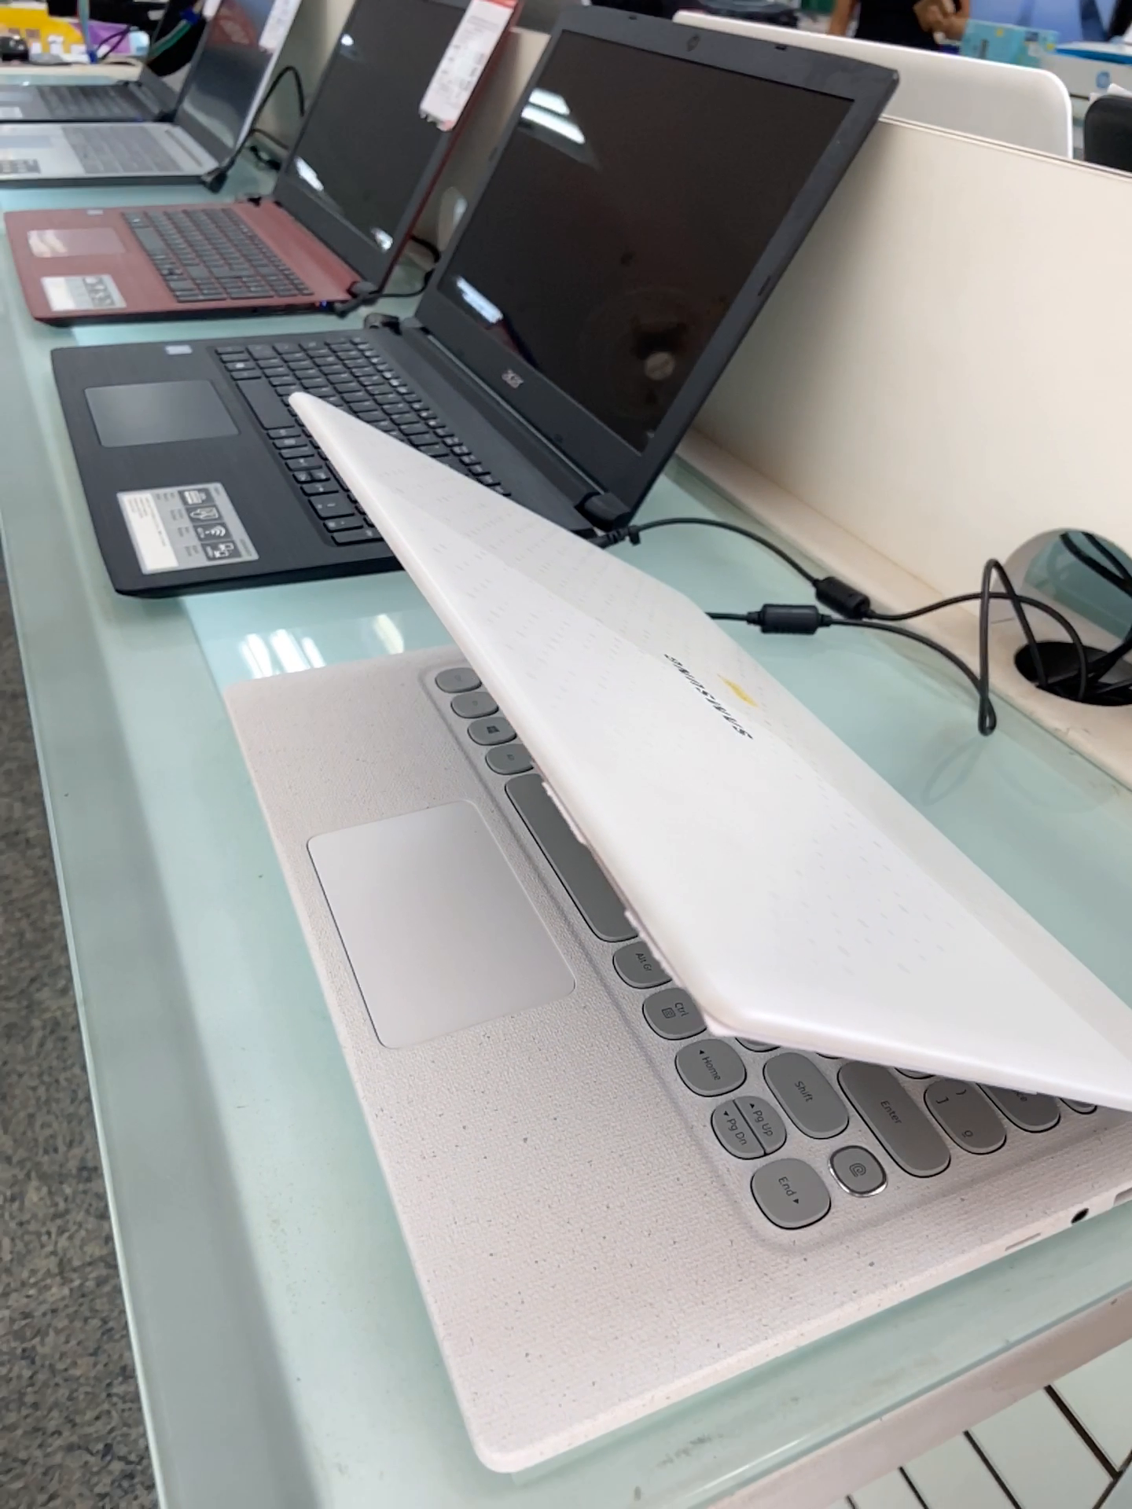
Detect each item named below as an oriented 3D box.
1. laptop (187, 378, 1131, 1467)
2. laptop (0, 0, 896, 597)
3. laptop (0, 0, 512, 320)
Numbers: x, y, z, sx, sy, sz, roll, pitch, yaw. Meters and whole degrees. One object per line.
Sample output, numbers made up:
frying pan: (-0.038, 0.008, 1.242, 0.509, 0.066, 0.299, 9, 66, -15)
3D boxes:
laptop: (0.020, -0.006, 0.356, 0.206, 0.107, 0.313, -12, 37, -20)
laptop: (-0.104, -0.301, 0.679, 0.374, 0.213, 0.402, -11, 37, -20)
laptop: (-0.279, -0.531, 0.971, 0.367, 0.198, 0.310, -15, 40, -22)
